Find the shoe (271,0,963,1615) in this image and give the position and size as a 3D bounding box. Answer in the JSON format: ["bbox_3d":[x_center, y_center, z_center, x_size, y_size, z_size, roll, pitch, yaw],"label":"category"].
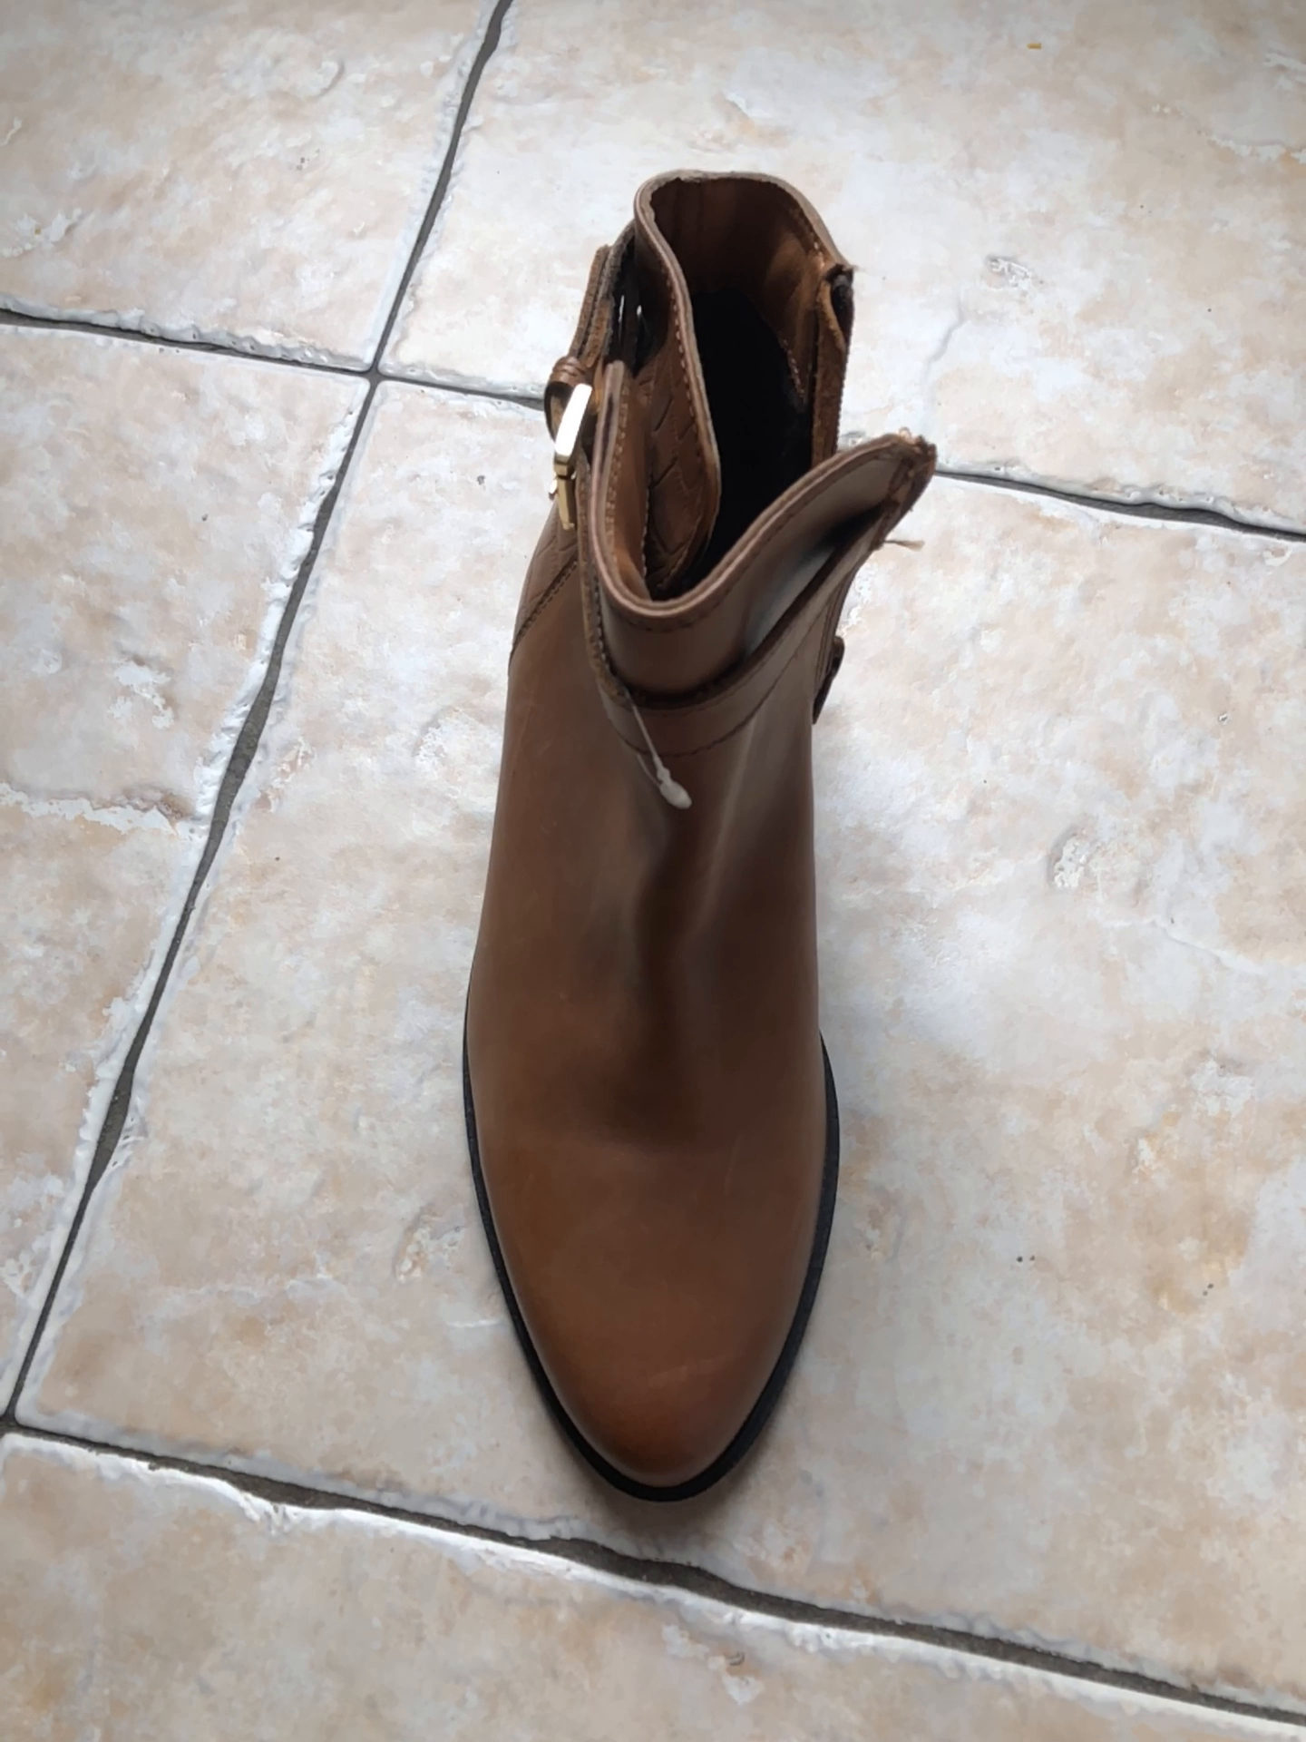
[{"bbox_3d":[0.007,-0.014,0.325,0.090,0.180,0.301,3,68,3],"label":"shoe"}]
